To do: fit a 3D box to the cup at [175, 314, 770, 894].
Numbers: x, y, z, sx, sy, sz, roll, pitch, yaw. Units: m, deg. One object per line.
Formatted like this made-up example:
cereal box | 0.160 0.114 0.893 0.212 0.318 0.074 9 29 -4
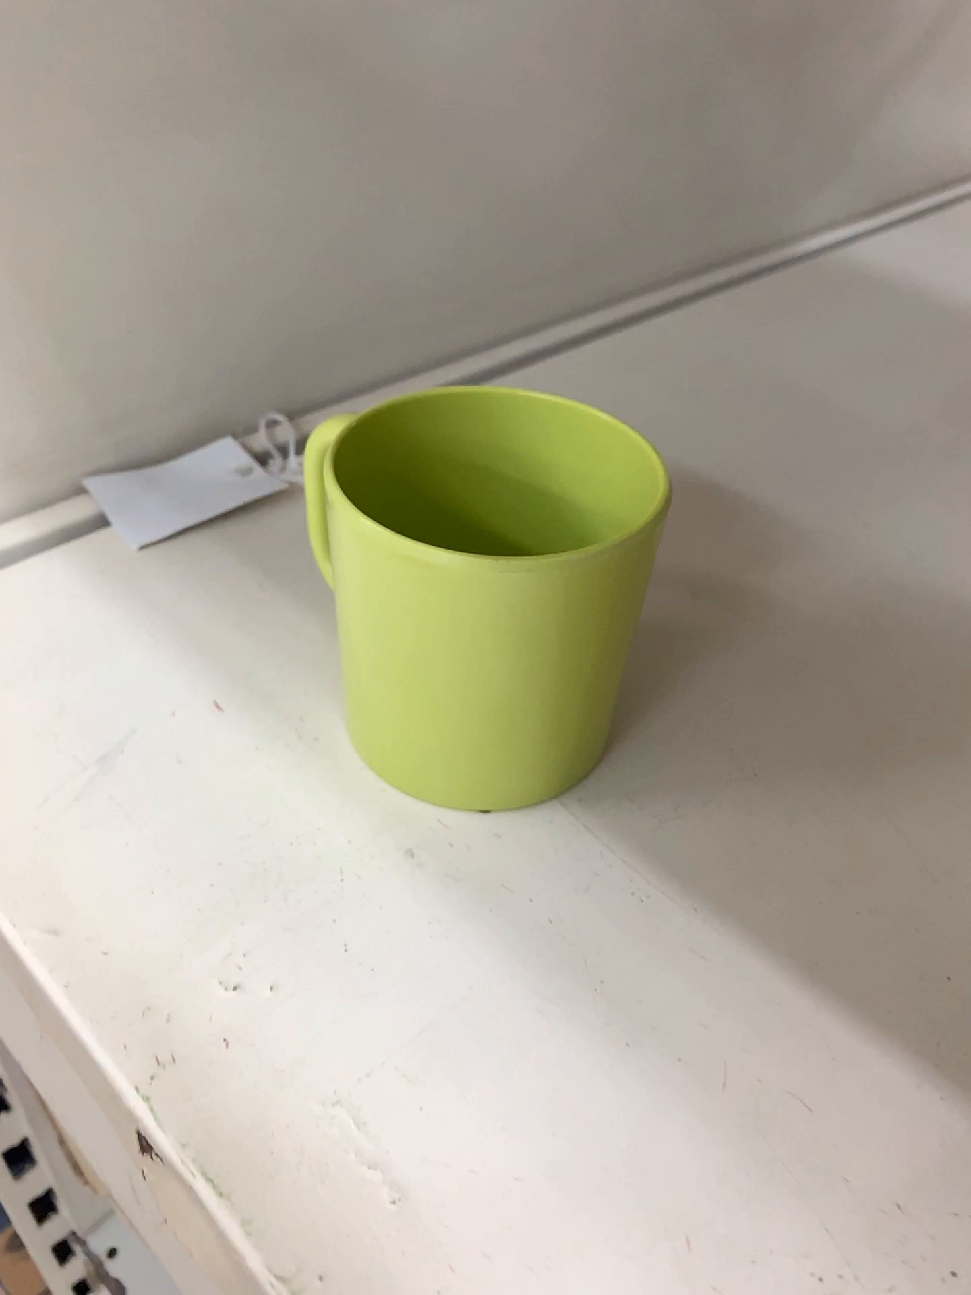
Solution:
cup | -0.007 -0.017 0.228 0.070 0.069 0.100 -29 49 -35
